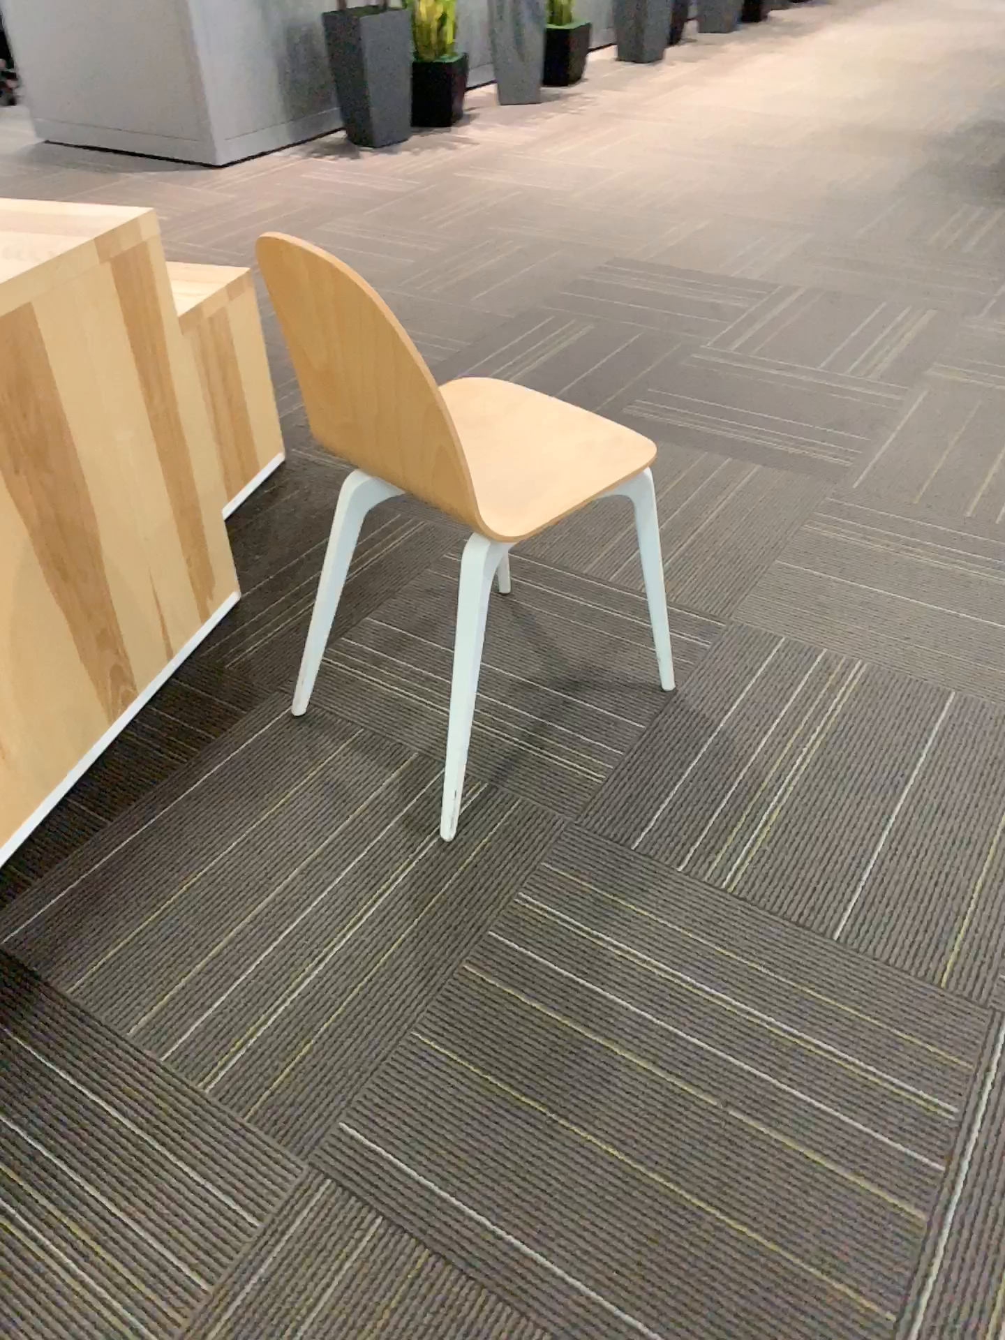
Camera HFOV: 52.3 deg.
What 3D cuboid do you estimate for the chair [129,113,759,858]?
[{"bbox_3d":[-0.063,-0.294,1.529,0.552,0.815,0.561,31,49,34],"label":"chair"}]
